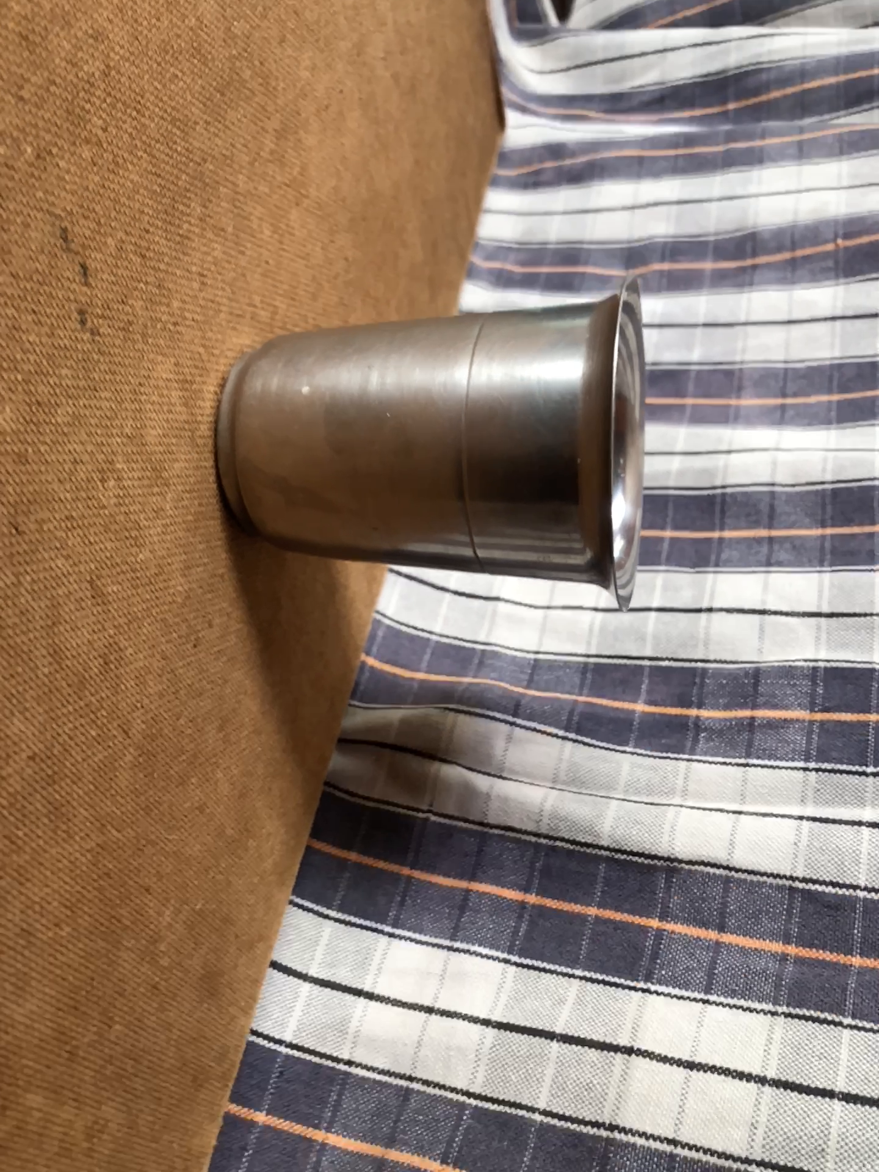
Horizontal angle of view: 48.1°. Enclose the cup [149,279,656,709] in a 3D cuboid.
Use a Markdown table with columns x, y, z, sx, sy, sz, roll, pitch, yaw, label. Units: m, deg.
| x | y | z | sx | sy | sz | roll | pitch | yaw | label |
| --- | --- | --- | --- | --- | --- | --- | --- | --- | --- |
| 0.000 | -0.028 | 0.246 | 0.080 | 0.100 | 0.080 | 2 | 90 | -75 | cup |
